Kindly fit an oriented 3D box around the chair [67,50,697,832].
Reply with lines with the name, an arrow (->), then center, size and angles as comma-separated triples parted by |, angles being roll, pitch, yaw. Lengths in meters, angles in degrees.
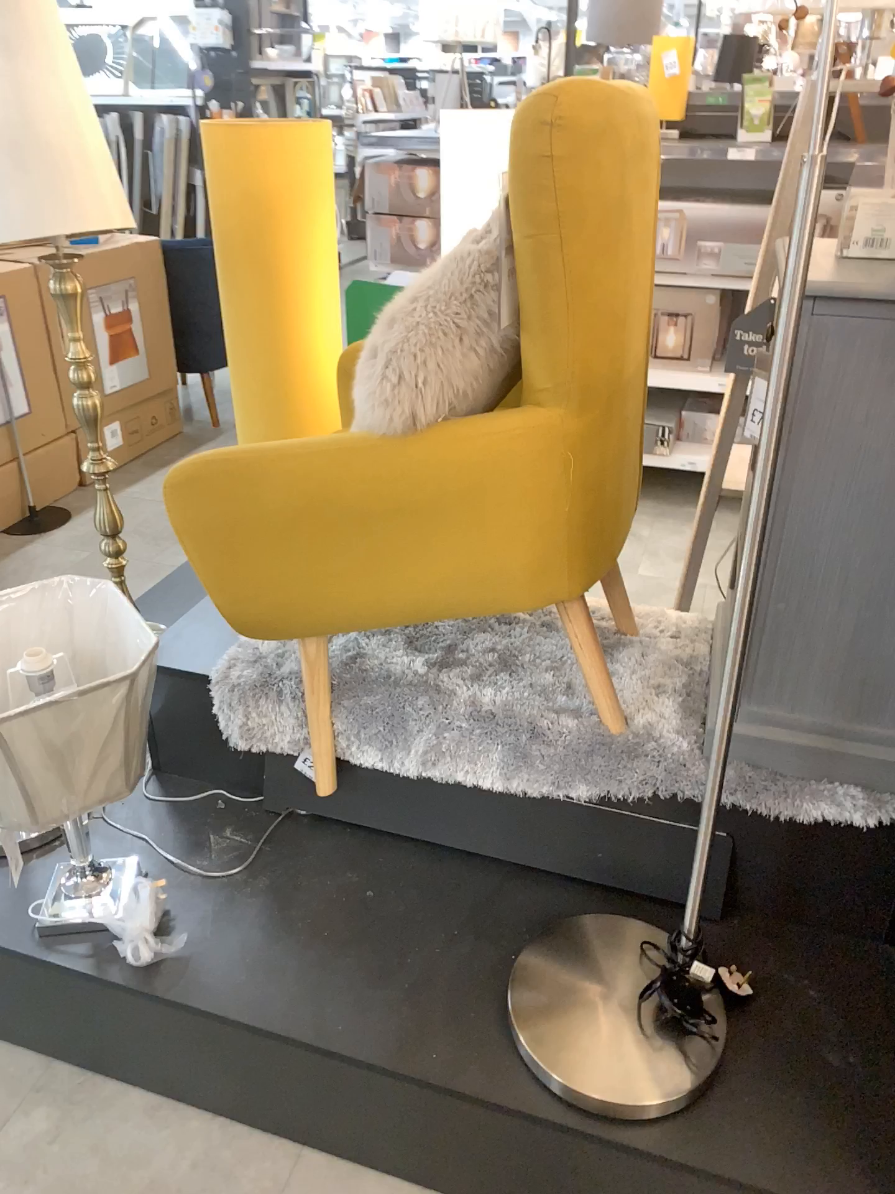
chair -> 0.014, -0.241, 1.508 | 0.710, 1.021, 0.595 | 0, 27, 19
